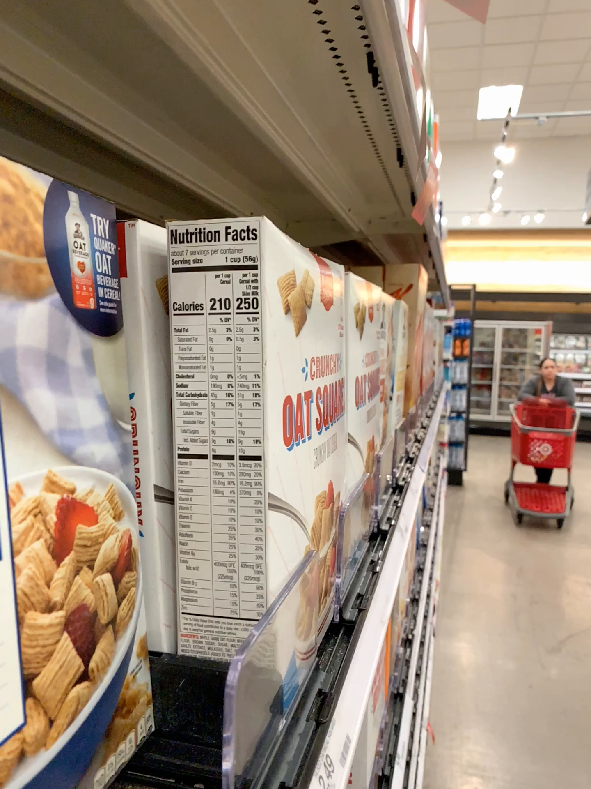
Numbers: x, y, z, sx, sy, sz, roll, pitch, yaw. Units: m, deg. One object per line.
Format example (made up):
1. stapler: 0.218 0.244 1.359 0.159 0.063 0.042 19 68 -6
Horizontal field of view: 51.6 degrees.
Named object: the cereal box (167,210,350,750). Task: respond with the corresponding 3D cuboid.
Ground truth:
1. cereal box: -0.009 0.035 0.379 0.060 0.250 0.190 1 4 13
